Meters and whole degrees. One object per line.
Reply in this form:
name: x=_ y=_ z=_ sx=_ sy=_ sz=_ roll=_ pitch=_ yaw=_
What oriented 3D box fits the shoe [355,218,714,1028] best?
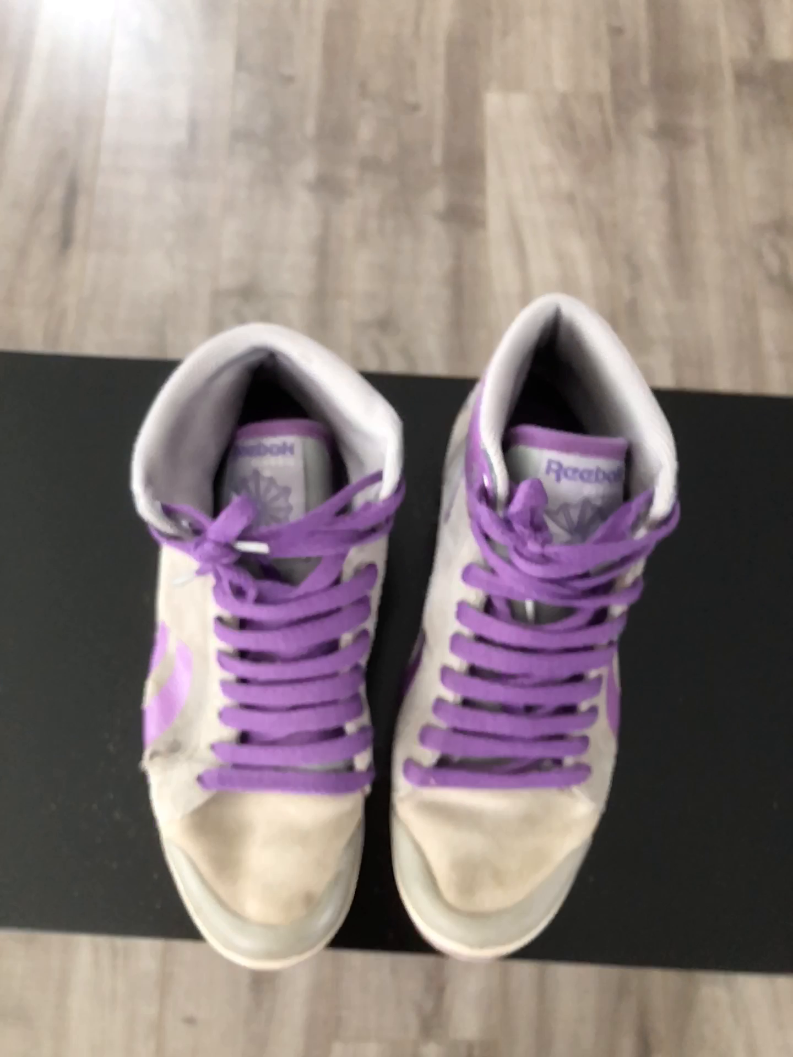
shoe: x=0.047 y=0.029 z=0.324 sx=0.090 sy=0.110 sz=0.240 roll=7 pitch=73 yaw=1

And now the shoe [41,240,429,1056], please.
shoe: x=-0.048 y=0.036 z=0.322 sx=0.100 sy=0.120 sz=0.240 roll=-2 pitch=74 yaw=-2
